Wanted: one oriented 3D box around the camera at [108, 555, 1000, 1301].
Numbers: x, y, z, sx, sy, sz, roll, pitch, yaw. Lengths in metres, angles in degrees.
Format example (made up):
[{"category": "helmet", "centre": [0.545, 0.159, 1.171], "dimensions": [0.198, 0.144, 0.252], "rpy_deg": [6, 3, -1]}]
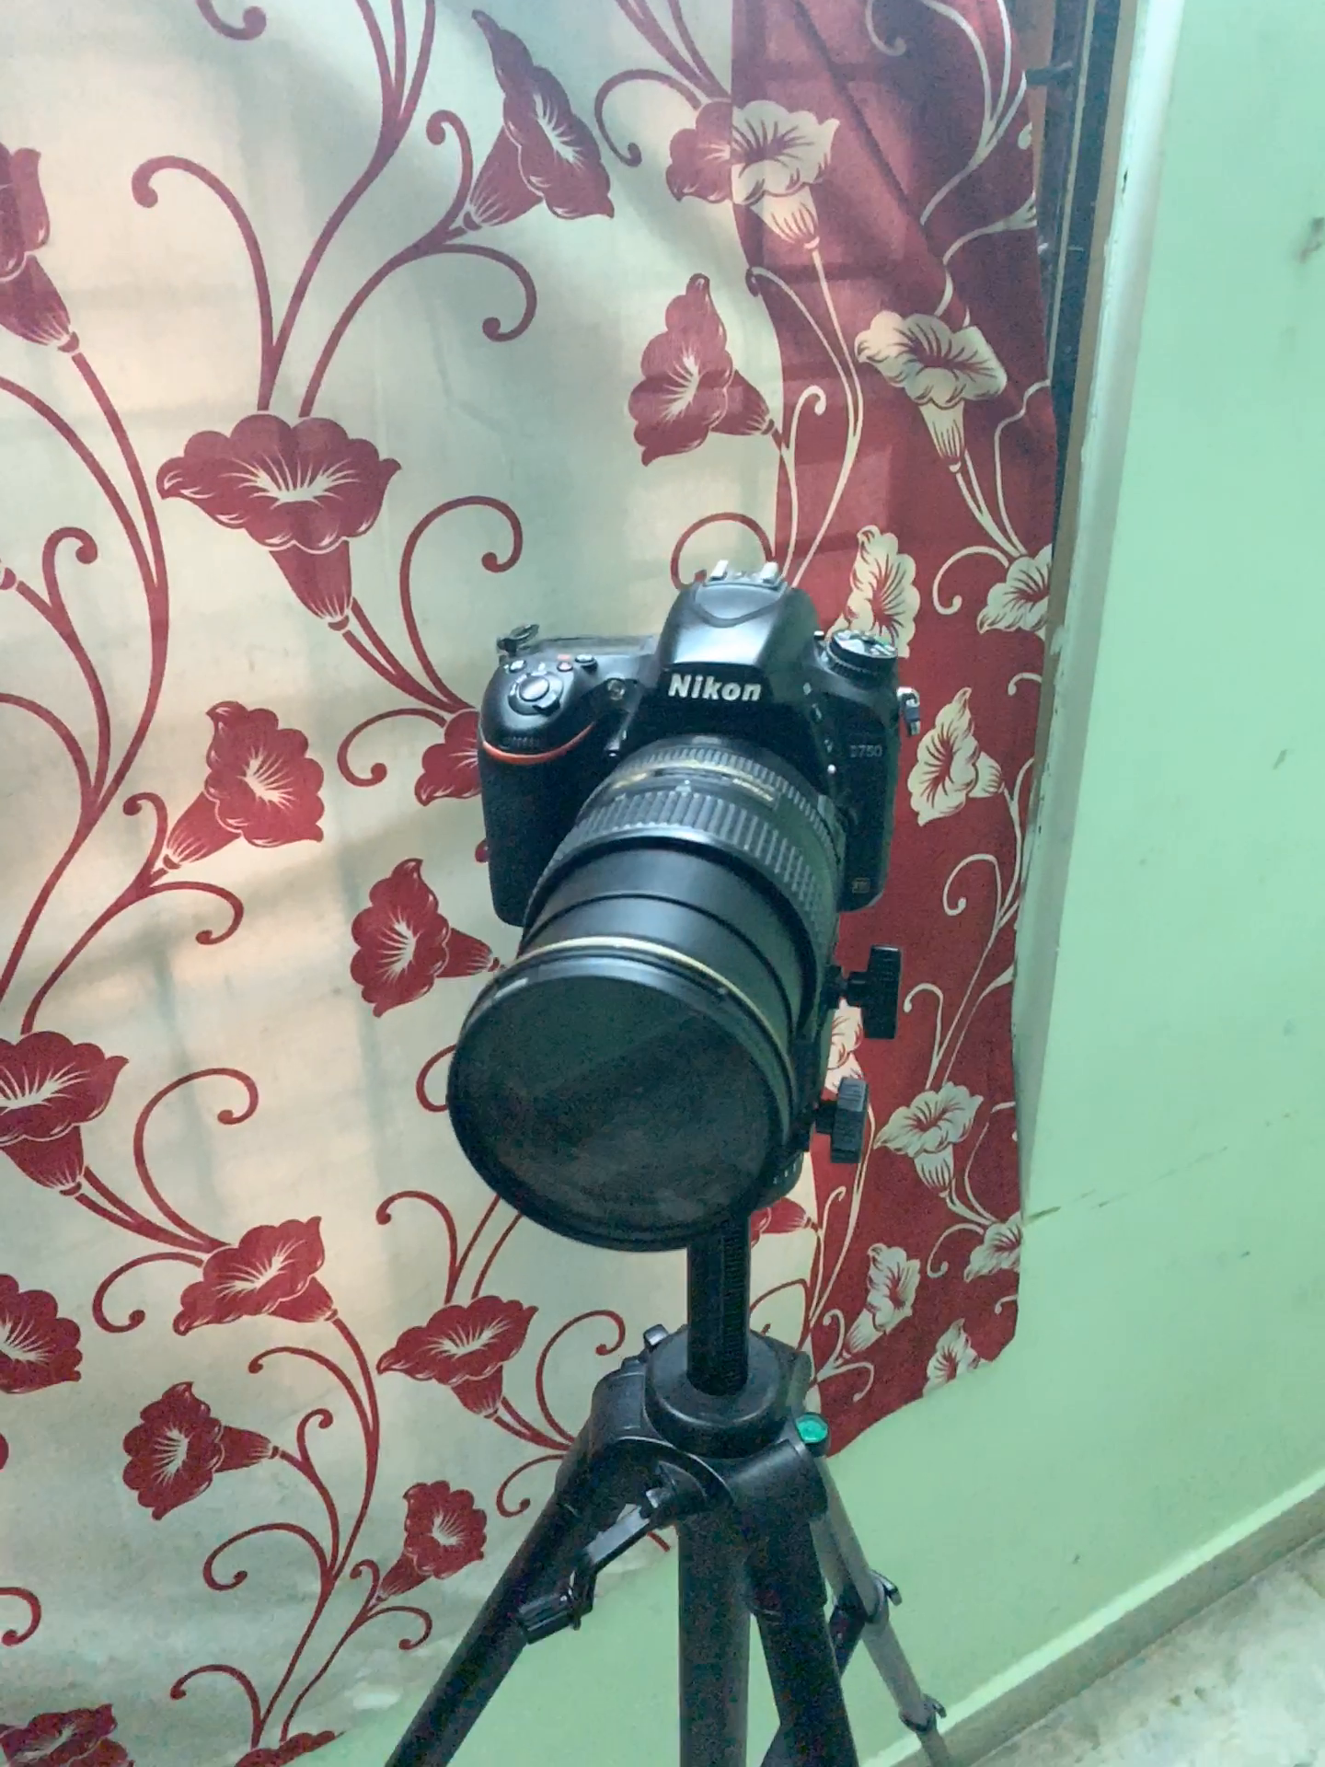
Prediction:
[{"category": "camera", "centre": [-0.012, -0.005, 0.358], "dimensions": [0.172, 0.122, 0.171], "rpy_deg": [3, 27, 7]}]
